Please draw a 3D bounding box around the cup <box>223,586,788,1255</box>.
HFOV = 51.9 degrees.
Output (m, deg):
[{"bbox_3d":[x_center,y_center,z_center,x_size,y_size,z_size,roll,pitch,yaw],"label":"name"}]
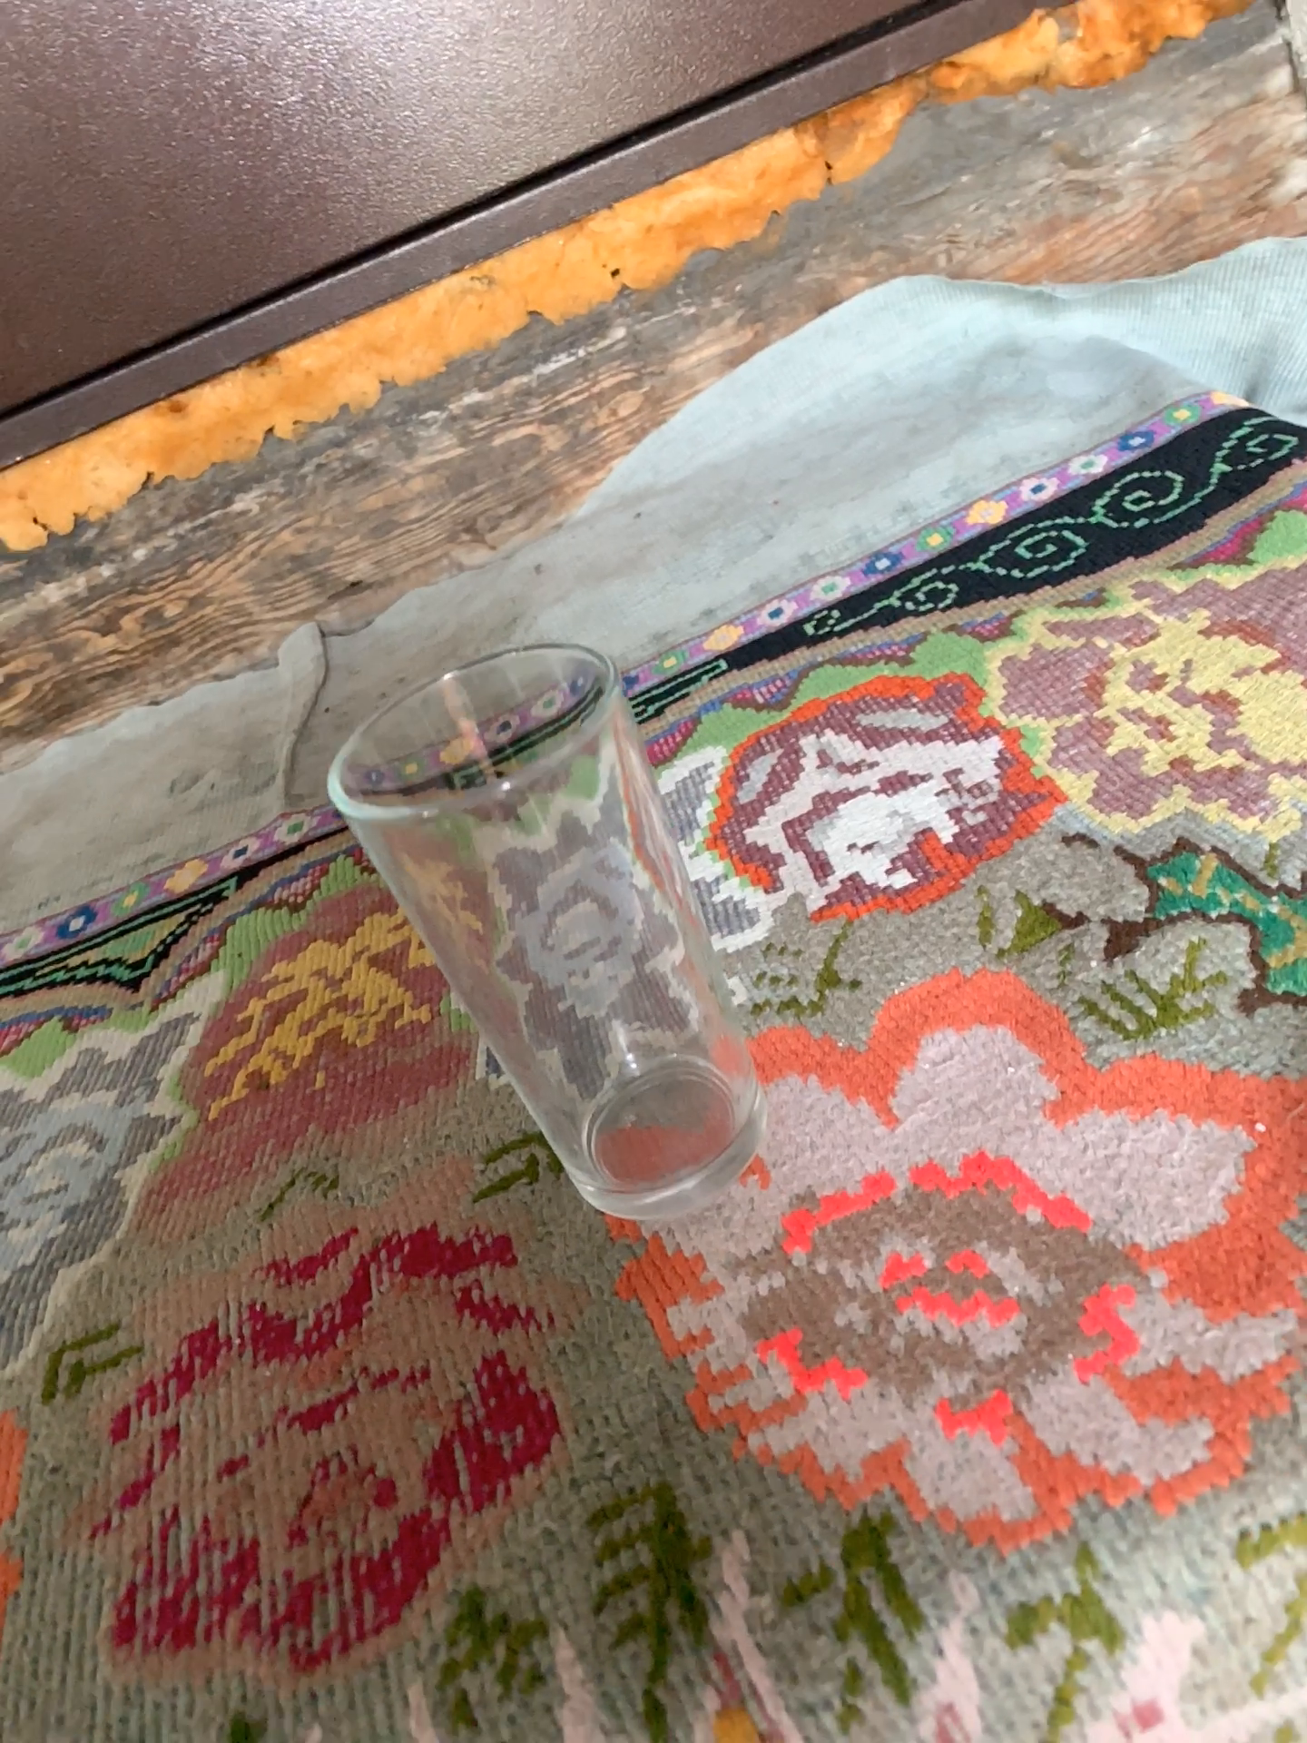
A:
[{"bbox_3d":[-0.021,0.015,0.278,0.060,0.119,0.060,-17,32,11],"label":"cup"}]
